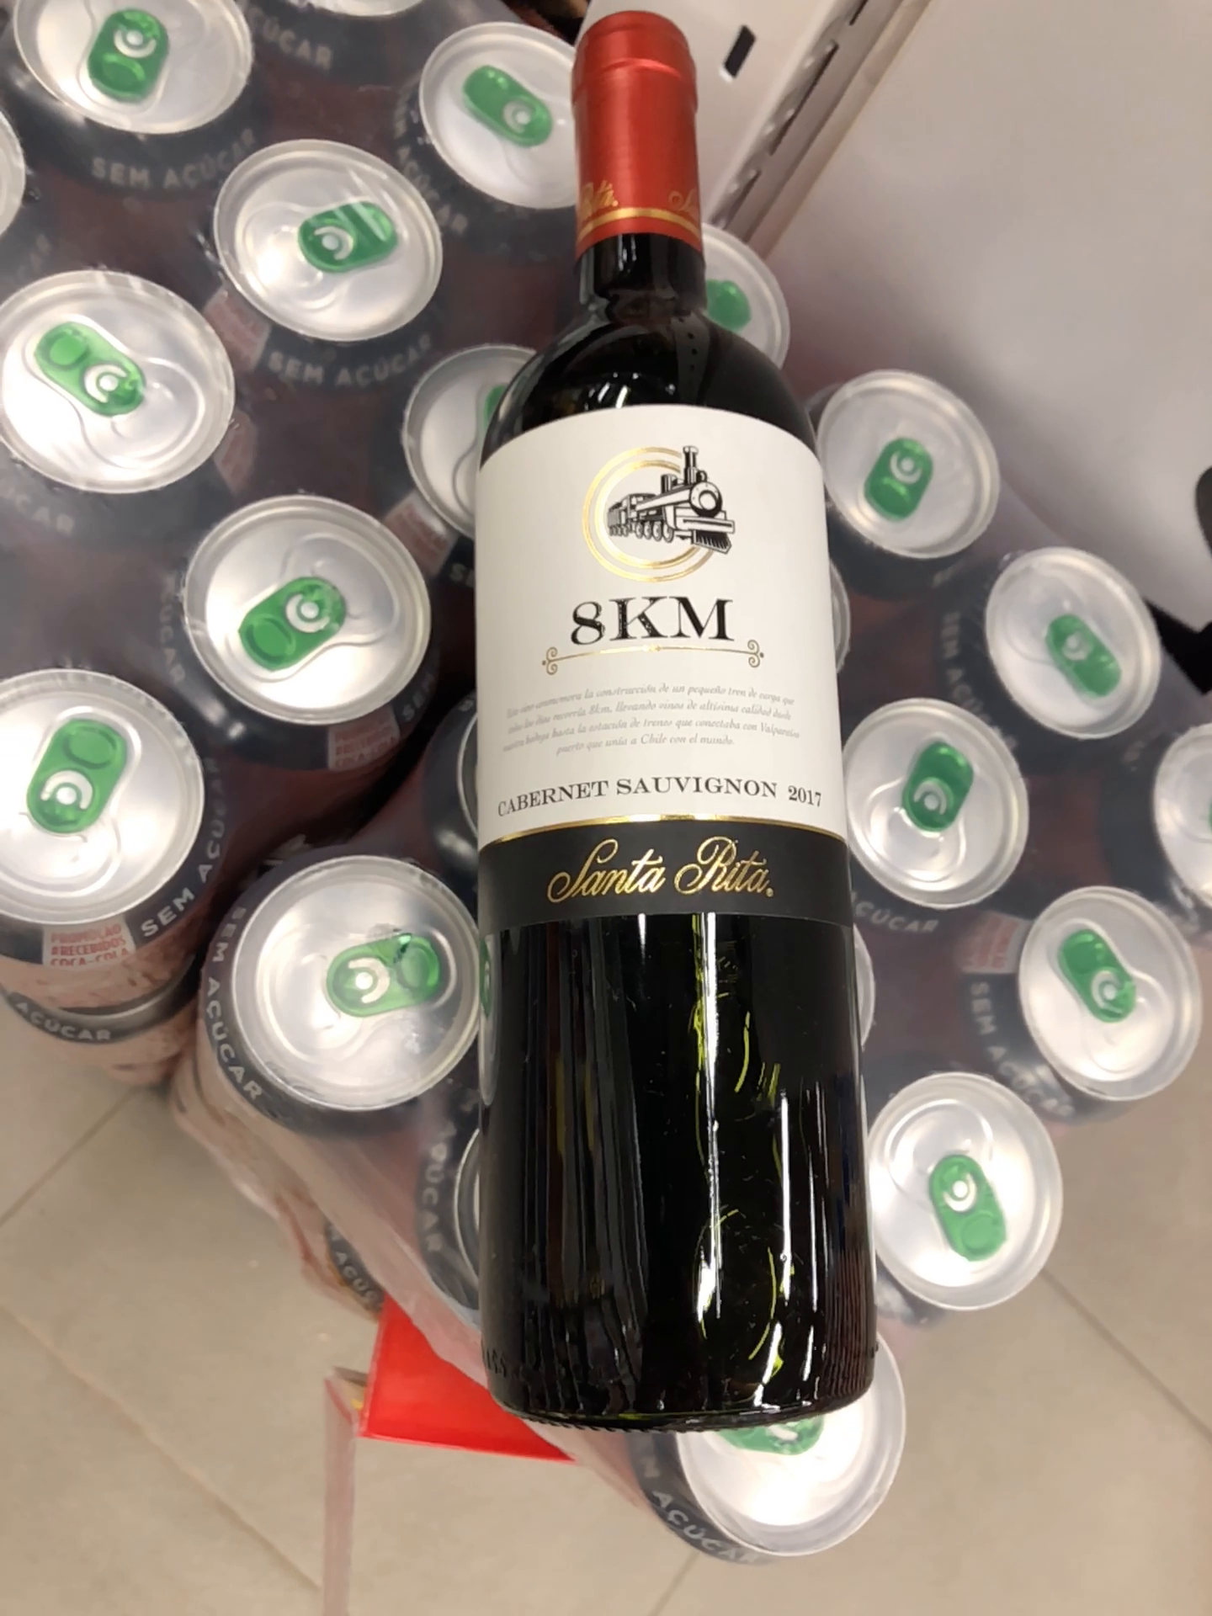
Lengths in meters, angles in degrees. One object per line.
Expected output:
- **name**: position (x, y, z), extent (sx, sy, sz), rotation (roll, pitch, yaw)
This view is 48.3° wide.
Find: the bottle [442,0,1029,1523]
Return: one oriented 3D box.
- **bottle**: position (0.014, -0.045, 0.273), extent (0.080, 0.070, 0.320), rotation (2, 76, -18)
